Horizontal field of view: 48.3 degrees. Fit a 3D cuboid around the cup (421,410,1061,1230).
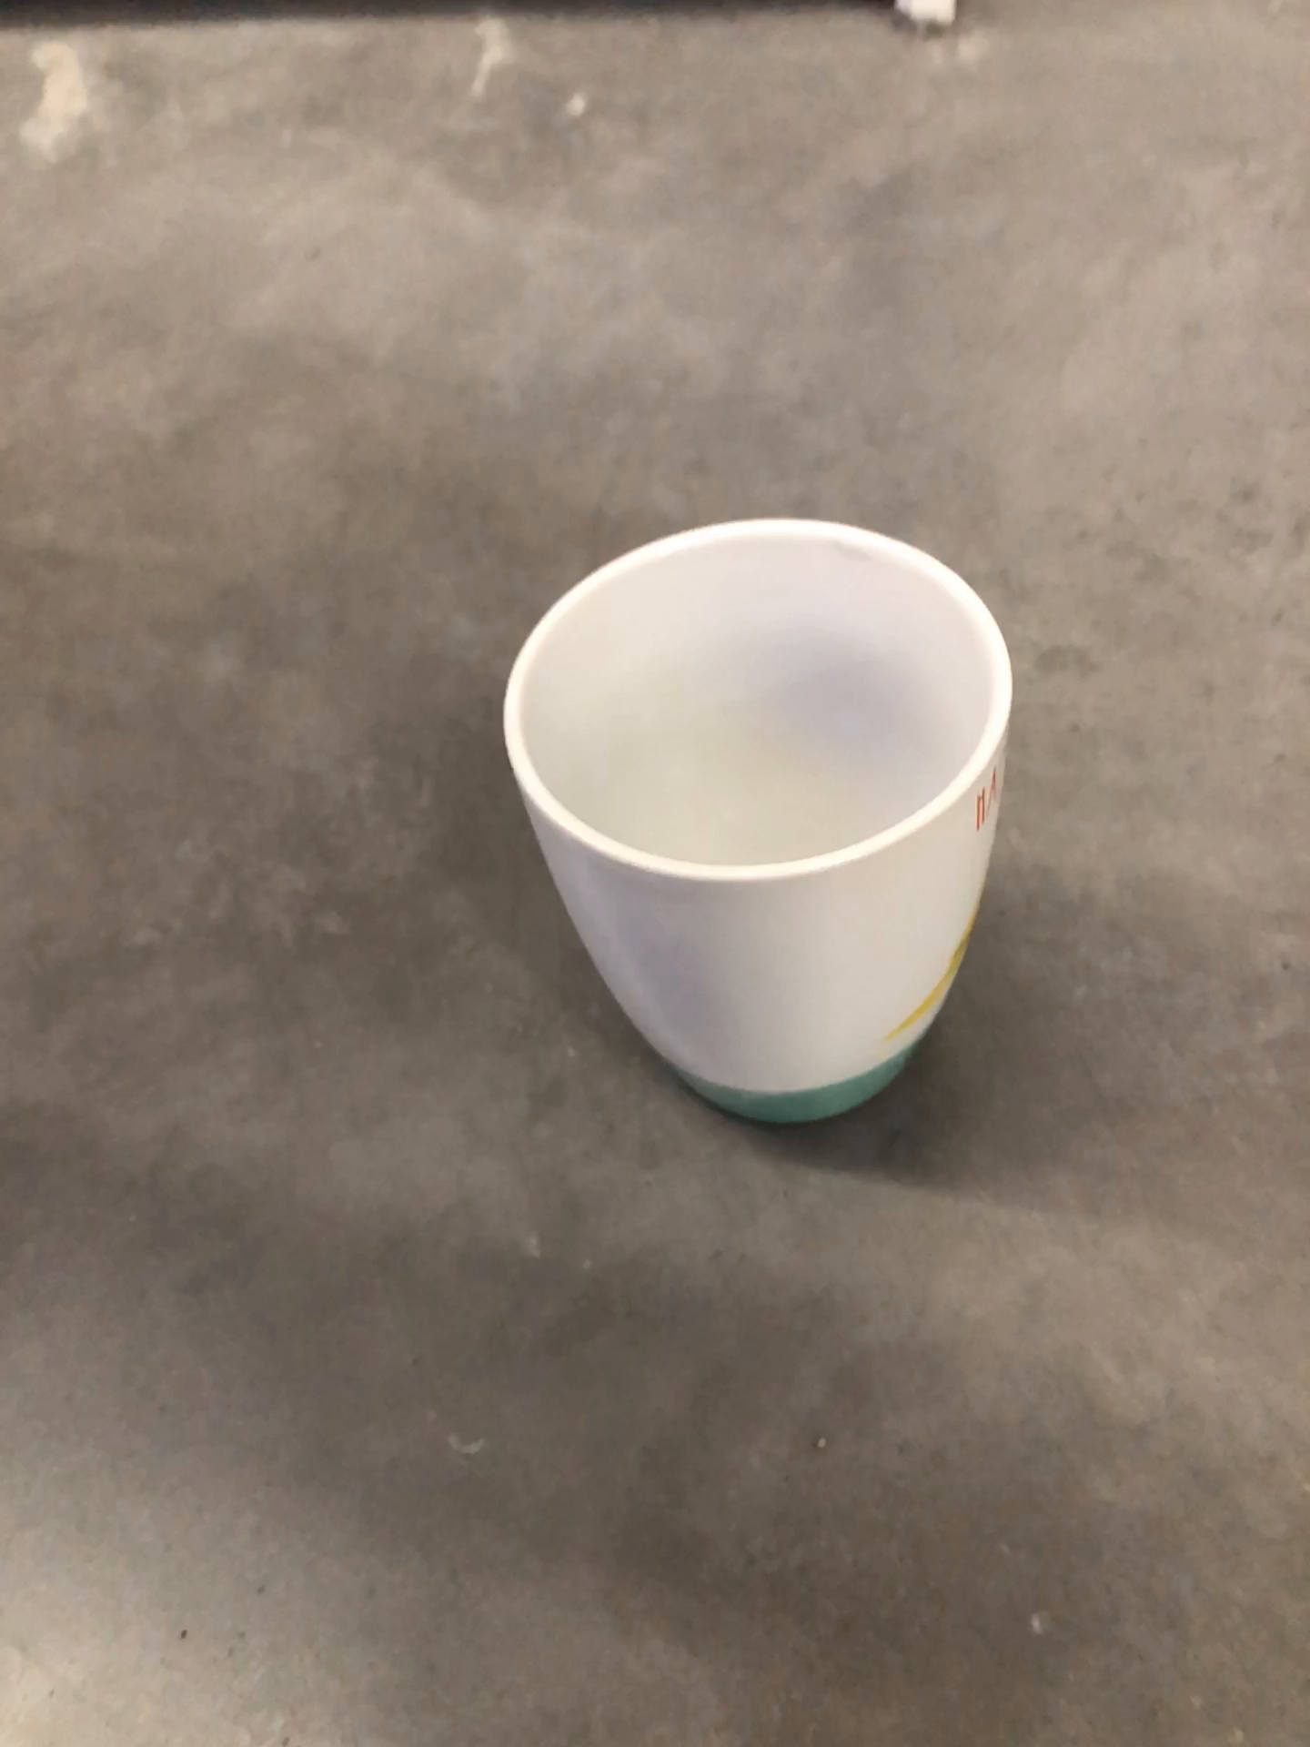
[{"bbox_3d":[0.029,-0.014,0.311,0.097,0.107,0.130,5,52,14],"label":"cup"}]
